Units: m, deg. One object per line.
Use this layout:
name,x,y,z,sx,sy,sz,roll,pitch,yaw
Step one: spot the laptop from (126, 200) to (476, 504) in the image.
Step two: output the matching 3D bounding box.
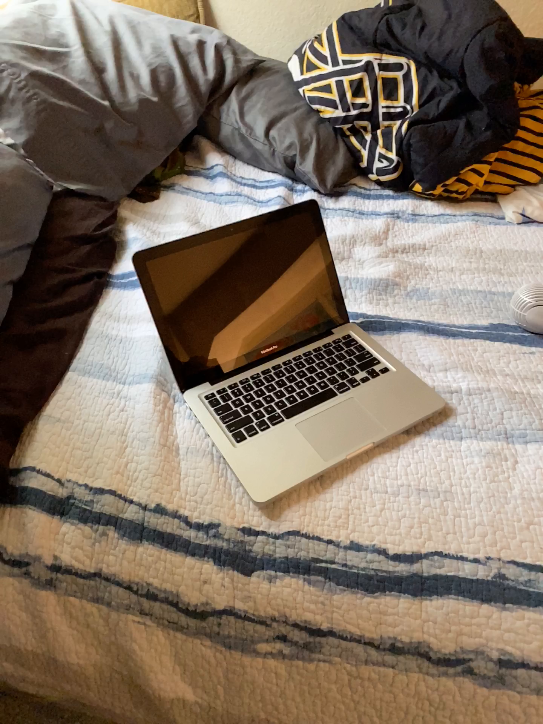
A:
laptop,0.026,-0.045,0.788,0.320,0.165,0.347,-23,49,-23
